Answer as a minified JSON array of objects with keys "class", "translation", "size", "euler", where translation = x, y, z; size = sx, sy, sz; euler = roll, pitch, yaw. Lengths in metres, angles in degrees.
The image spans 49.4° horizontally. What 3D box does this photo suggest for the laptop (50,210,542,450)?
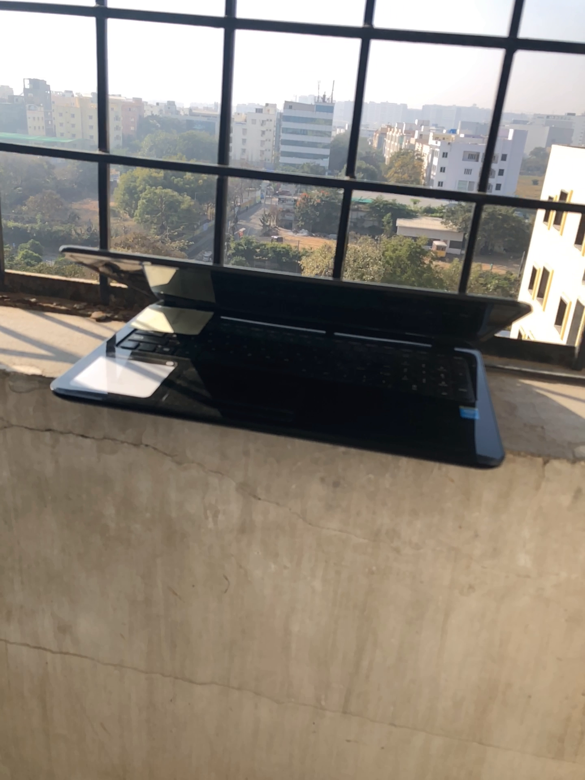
[{"class":"laptop","translation":[0.008,-0.078,0.594],"size":[0.363,0.113,0.245],"euler":[8,22,7]}]
